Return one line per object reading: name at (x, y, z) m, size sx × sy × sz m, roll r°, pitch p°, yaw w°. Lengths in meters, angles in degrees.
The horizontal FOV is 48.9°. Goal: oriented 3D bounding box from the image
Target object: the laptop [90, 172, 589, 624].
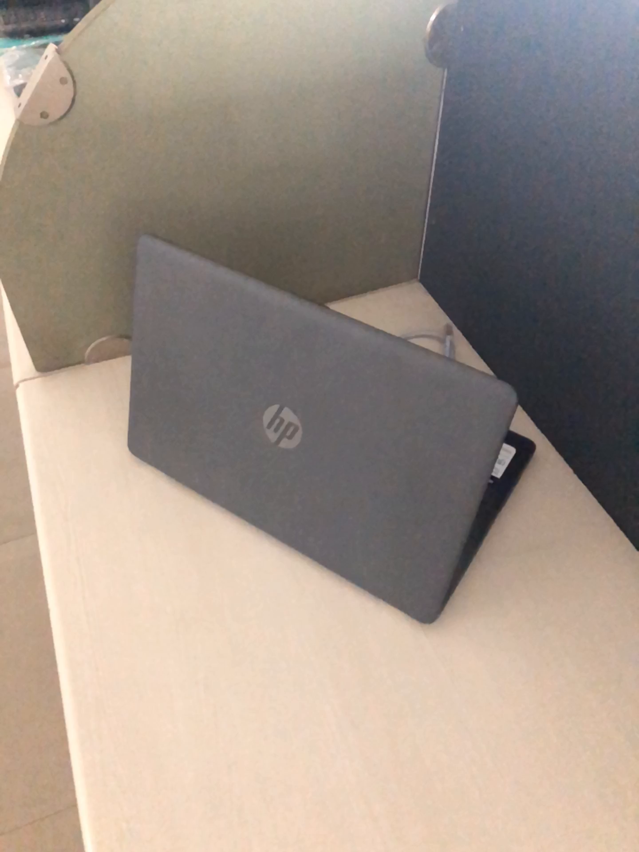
laptop at (0.013, -0.046, 0.684) m, size 0.360 × 0.216 × 0.239 m, roll 27°, pitch 54°, yaw 24°
